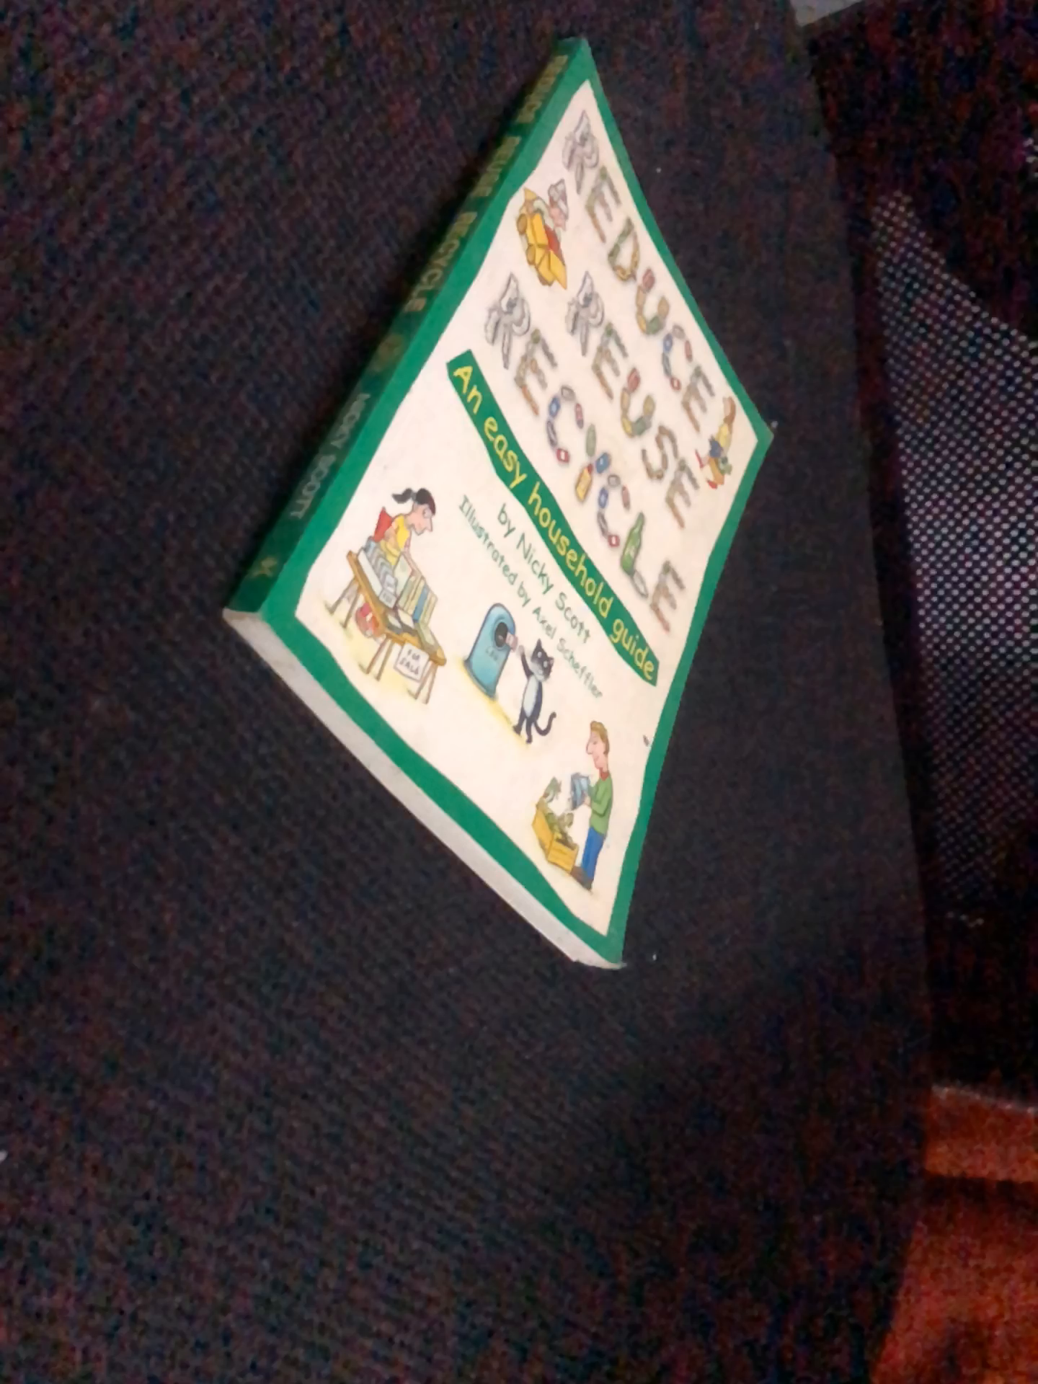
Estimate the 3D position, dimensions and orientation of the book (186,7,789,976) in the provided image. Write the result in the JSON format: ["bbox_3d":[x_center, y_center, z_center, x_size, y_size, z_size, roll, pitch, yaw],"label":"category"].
[{"bbox_3d":[0.014,-0.045,0.261,0.131,0.018,0.174,51,48,-40],"label":"book"}]
